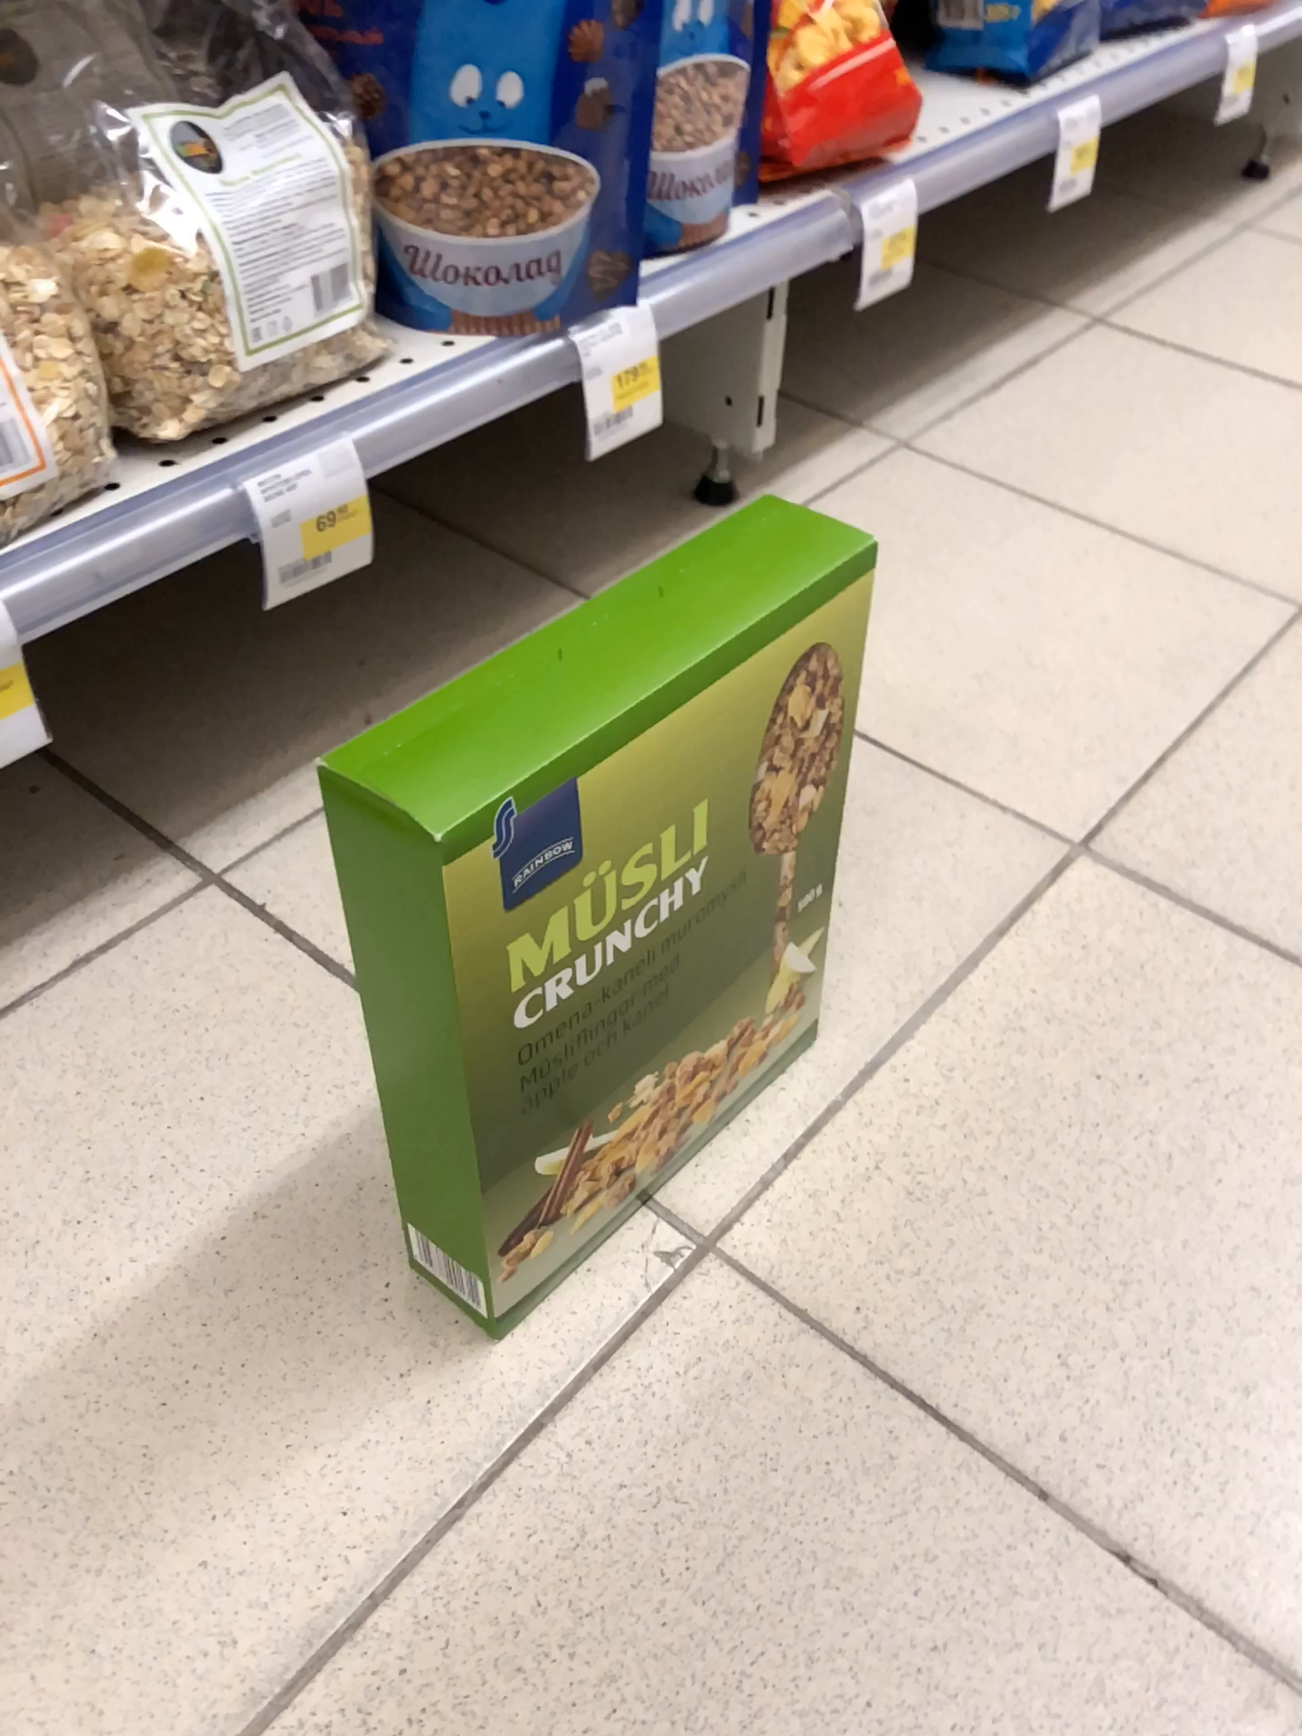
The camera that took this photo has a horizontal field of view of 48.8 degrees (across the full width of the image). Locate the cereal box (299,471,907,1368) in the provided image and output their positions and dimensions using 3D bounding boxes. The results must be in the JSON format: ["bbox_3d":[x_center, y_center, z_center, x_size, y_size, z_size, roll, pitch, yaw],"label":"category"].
[{"bbox_3d":[-0.006,0.022,0.490,0.050,0.249,0.201,31,50,28],"label":"cereal box"}]
